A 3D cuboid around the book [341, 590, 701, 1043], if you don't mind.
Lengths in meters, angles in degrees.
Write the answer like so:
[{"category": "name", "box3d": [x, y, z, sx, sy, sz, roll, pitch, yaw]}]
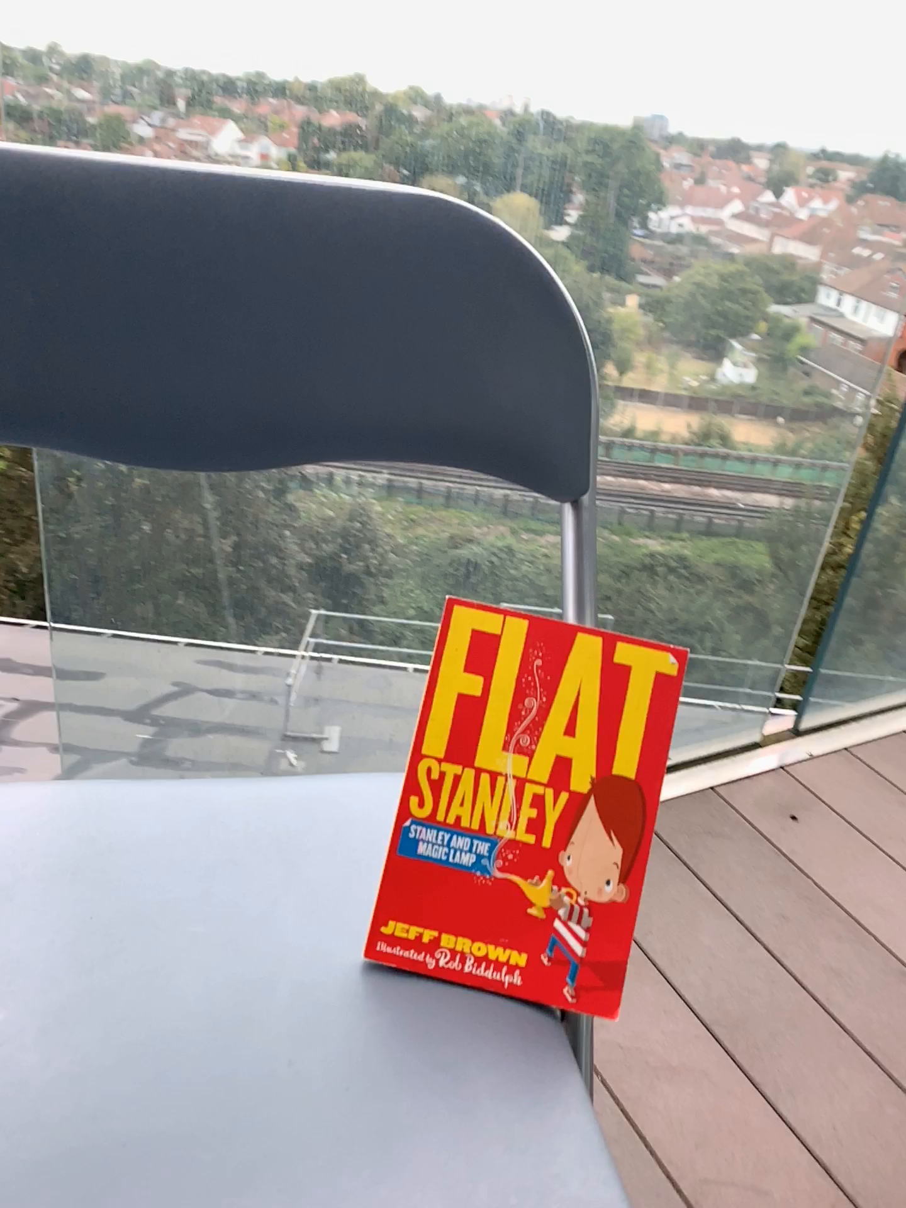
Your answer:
[{"category": "book", "box3d": [0.035, 0.101, 0.465, 0.140, 0.190, 0.020, 12, -7, 8]}]
